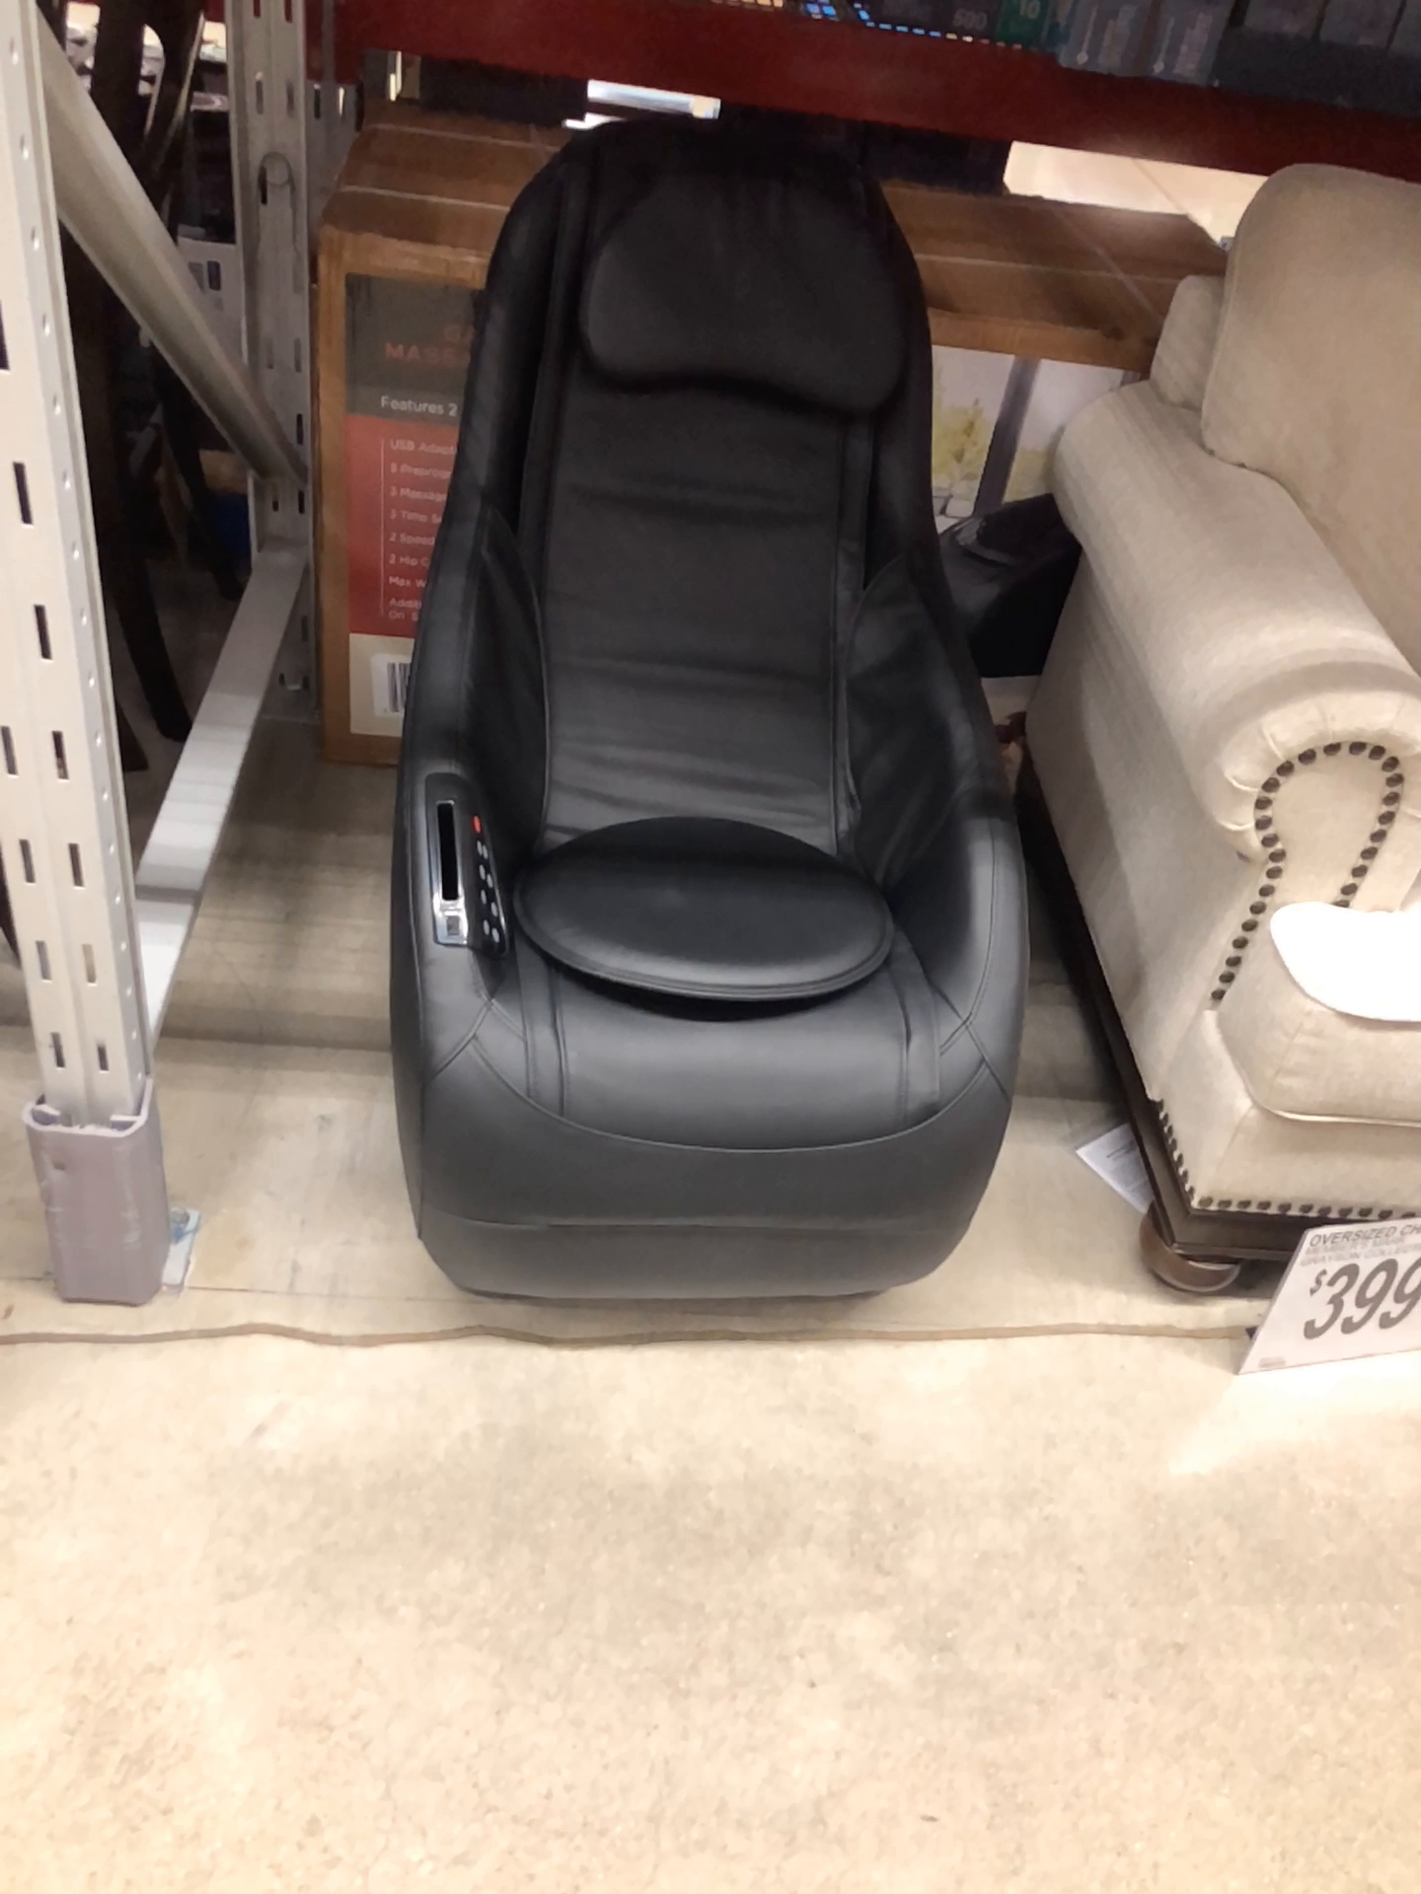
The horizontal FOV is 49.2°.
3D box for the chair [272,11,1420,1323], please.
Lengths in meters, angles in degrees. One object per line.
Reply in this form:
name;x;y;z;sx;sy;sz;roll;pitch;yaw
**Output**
chair;-0.008;-0.229;1.365;0.650;0.848;0.702;1;39;-11
